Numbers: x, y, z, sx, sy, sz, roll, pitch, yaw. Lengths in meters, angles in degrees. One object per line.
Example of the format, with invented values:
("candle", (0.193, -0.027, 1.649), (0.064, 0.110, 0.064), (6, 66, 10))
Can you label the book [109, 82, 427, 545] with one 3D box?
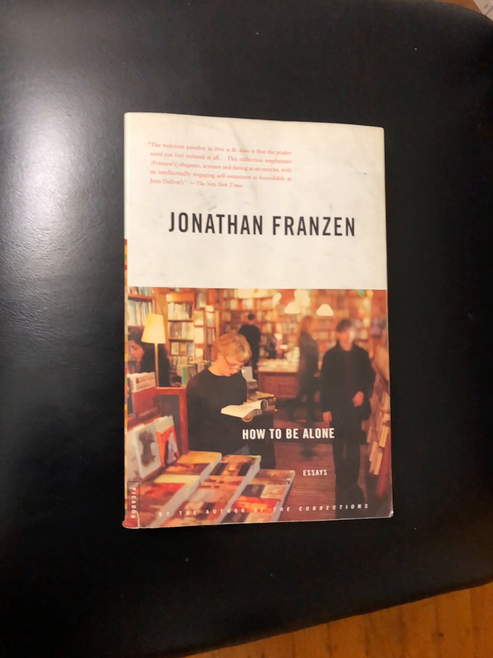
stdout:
("book", (0.011, -0.008, 0.298), (0.160, 0.040, 0.230), (0, 88, -4))
